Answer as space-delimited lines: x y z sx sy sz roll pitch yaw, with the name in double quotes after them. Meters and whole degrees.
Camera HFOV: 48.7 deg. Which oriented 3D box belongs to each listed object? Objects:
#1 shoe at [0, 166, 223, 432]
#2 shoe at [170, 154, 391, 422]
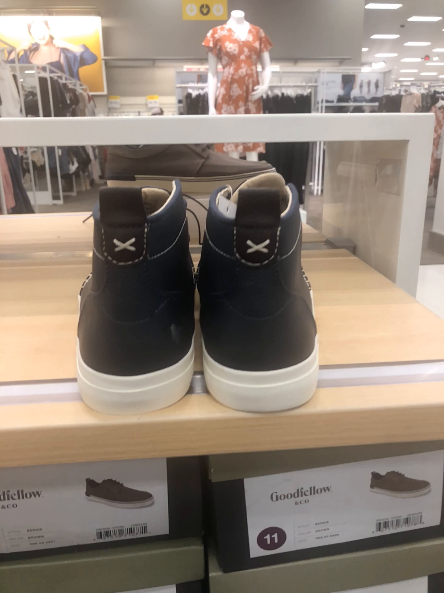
-0.071 -0.027 0.372 0.109 0.114 0.259 -3 20 -7 "shoe"
0.022 -0.036 0.380 0.106 0.124 0.268 -1 20 -3 "shoe"
